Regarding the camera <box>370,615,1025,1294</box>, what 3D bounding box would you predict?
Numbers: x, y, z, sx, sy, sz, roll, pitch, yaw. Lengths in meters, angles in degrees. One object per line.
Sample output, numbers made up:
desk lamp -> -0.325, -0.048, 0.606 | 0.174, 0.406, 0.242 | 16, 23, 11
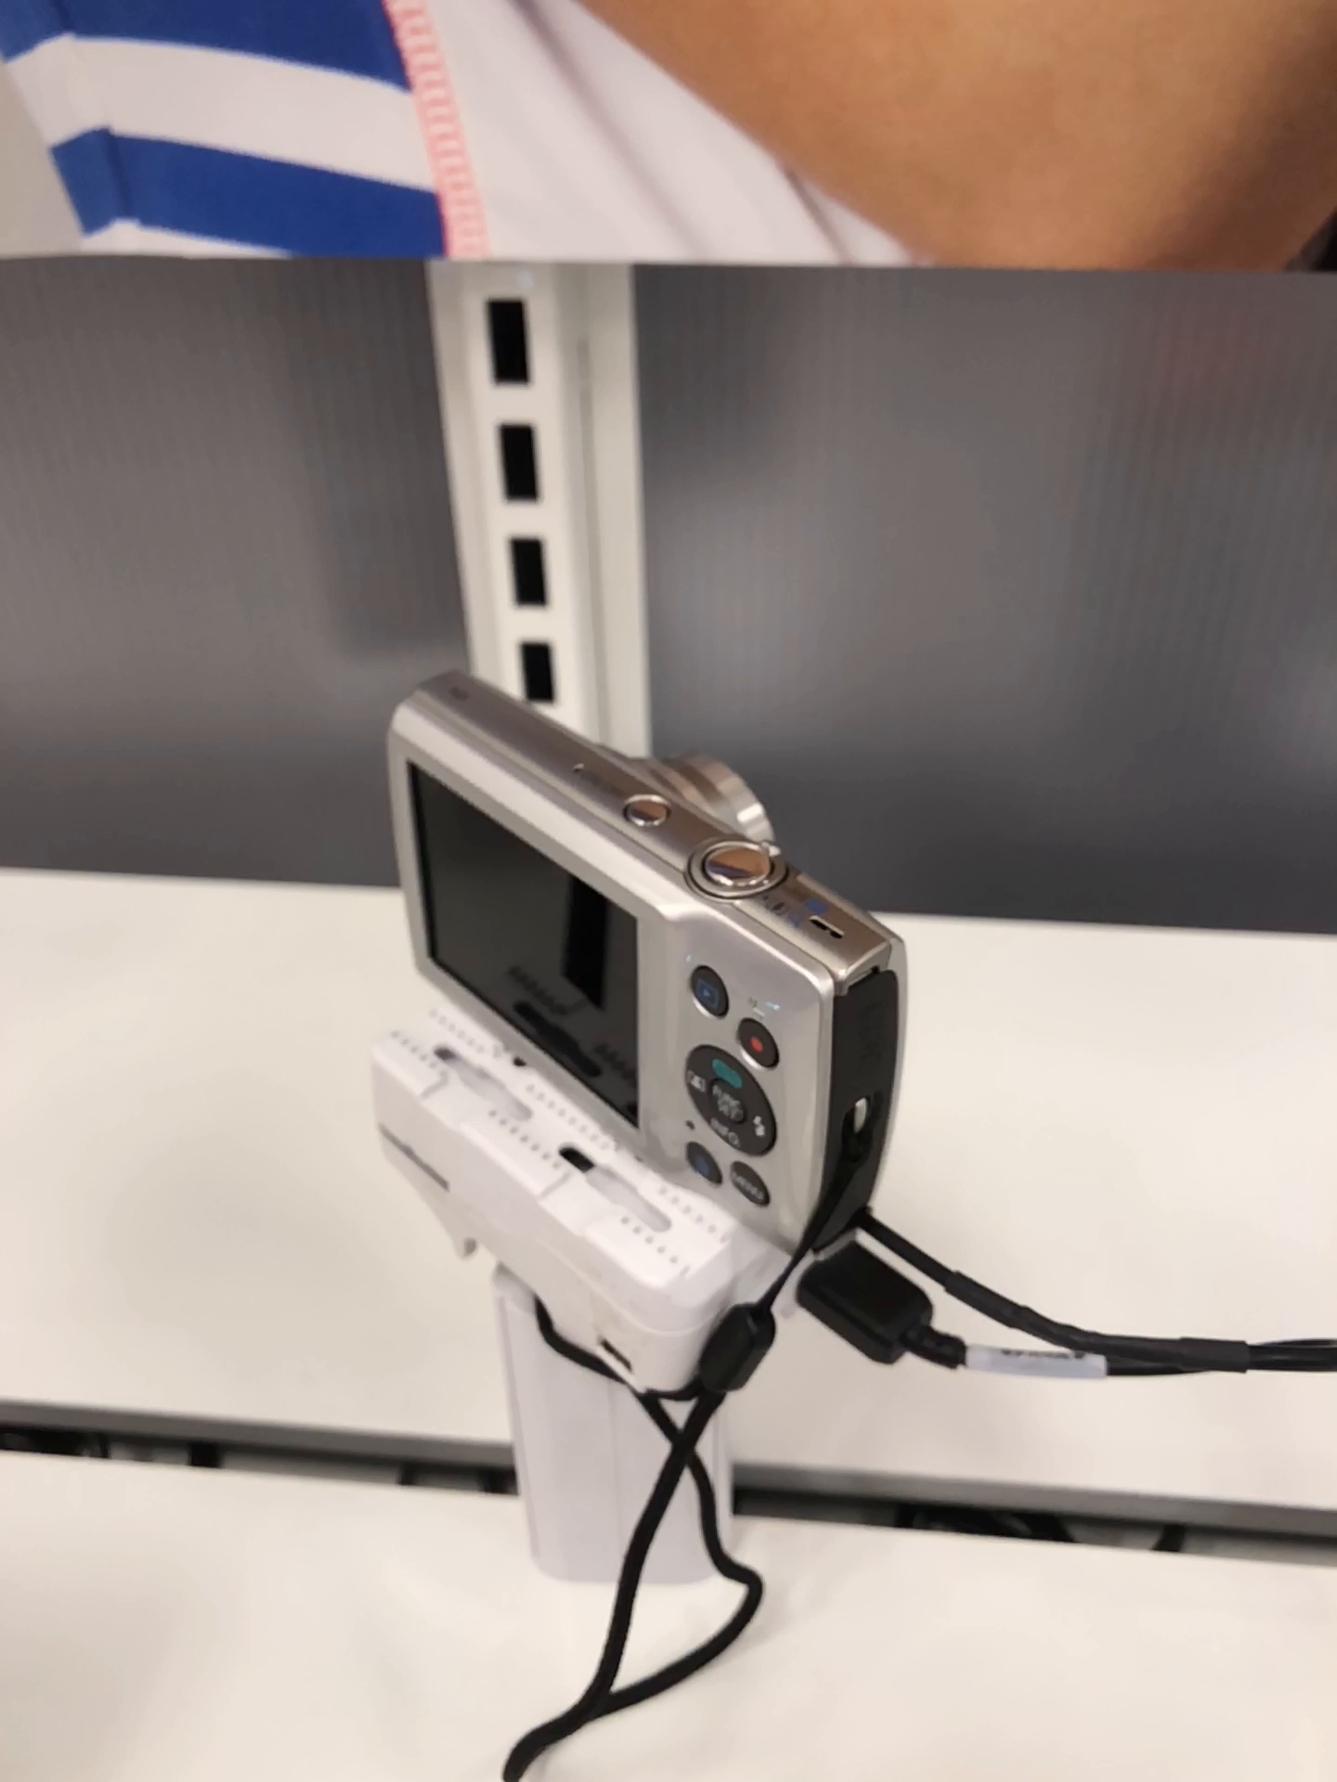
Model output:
camera -> 0.001, 0.005, 0.228 | 0.043, 0.055, 0.089 | -29, 46, -32
